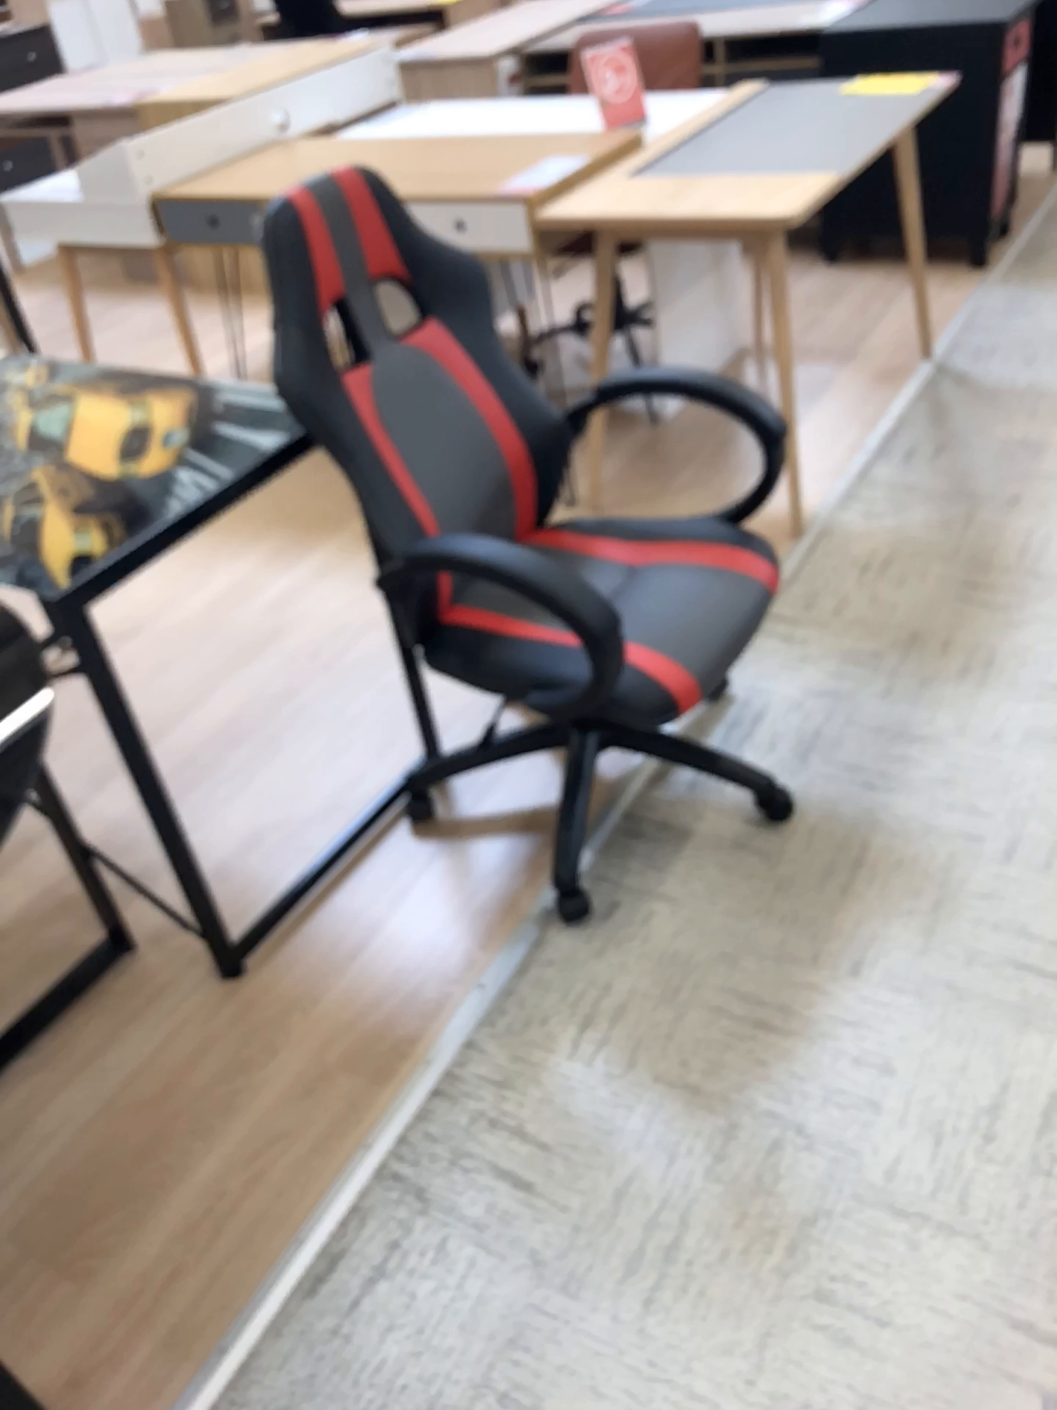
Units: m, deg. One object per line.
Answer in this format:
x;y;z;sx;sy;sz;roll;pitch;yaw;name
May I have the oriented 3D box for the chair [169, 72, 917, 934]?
0.105;-0.324;1.741;0.690;0.925;0.694;13;41;30;chair
